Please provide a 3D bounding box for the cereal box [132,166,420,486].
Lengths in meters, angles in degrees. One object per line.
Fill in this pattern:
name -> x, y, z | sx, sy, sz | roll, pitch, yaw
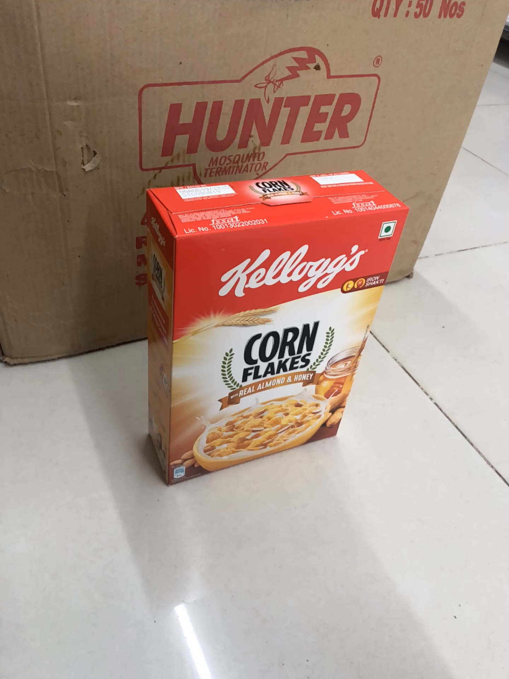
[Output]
cereal box -> 0.004, -0.006, 0.493 | 0.200, 0.259, 0.070 | -12, 45, -23
